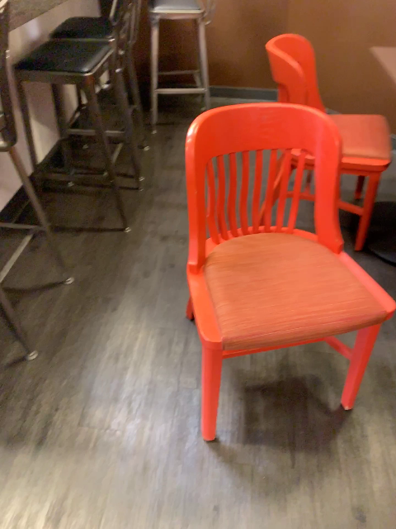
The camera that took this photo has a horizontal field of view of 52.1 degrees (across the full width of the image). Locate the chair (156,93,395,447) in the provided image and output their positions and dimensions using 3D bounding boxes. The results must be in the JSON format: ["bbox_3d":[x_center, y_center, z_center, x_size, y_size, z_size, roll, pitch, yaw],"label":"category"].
[{"bbox_3d":[0.219,0.019,1.216,0.560,0.806,0.583,-8,43,-11],"label":"chair"}]
